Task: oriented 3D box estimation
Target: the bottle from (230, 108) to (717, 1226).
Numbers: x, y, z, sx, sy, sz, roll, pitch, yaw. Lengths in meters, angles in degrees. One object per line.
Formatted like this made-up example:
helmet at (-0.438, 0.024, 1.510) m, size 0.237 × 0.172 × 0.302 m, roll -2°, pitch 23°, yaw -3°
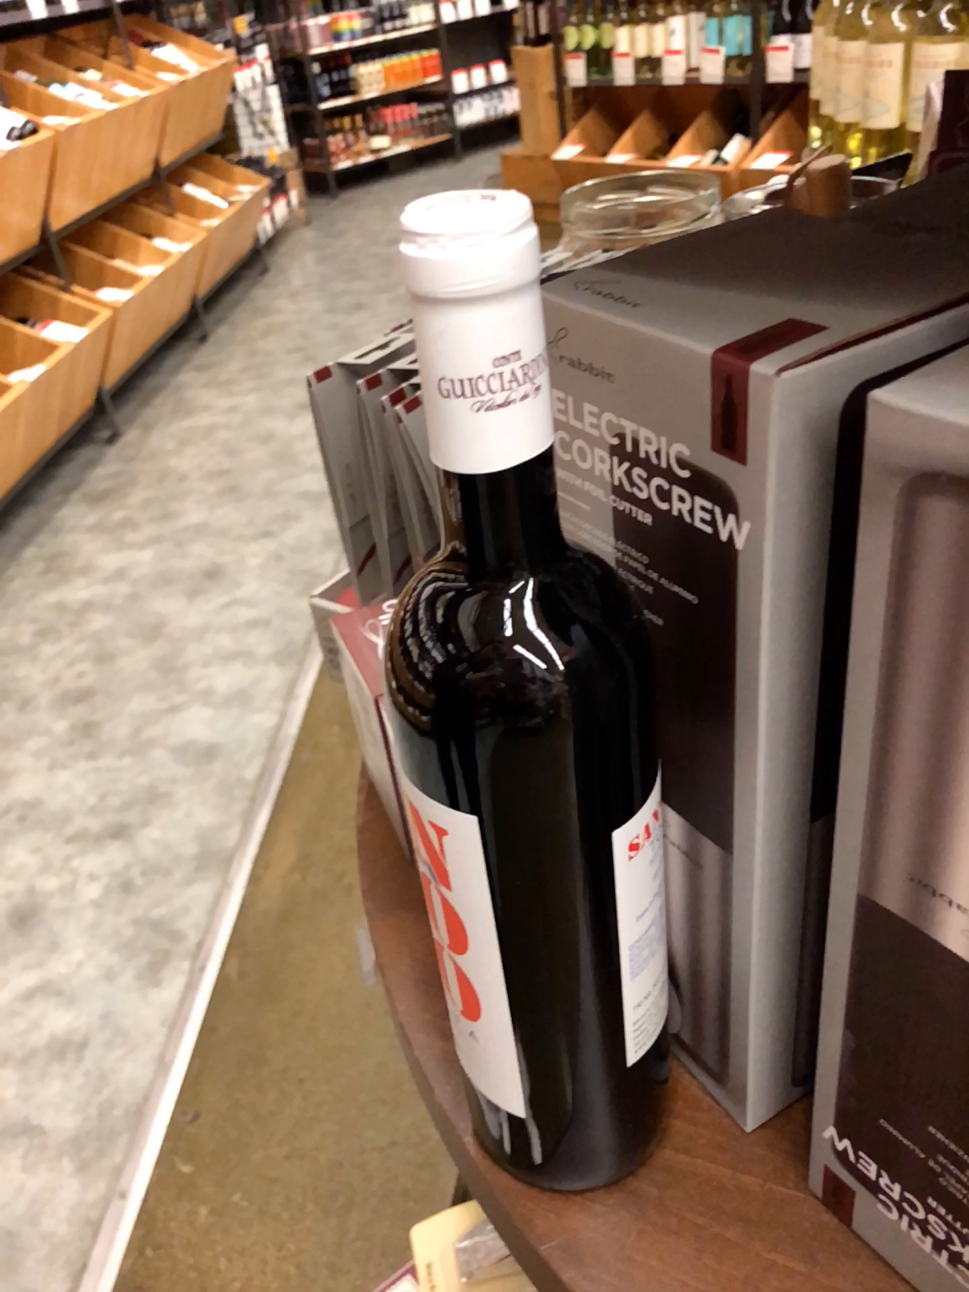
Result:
bottle at (0.010, 0.029, 0.303) m, size 0.080 × 0.309 × 0.083 m, roll -7°, pitch 32°, yaw 4°
